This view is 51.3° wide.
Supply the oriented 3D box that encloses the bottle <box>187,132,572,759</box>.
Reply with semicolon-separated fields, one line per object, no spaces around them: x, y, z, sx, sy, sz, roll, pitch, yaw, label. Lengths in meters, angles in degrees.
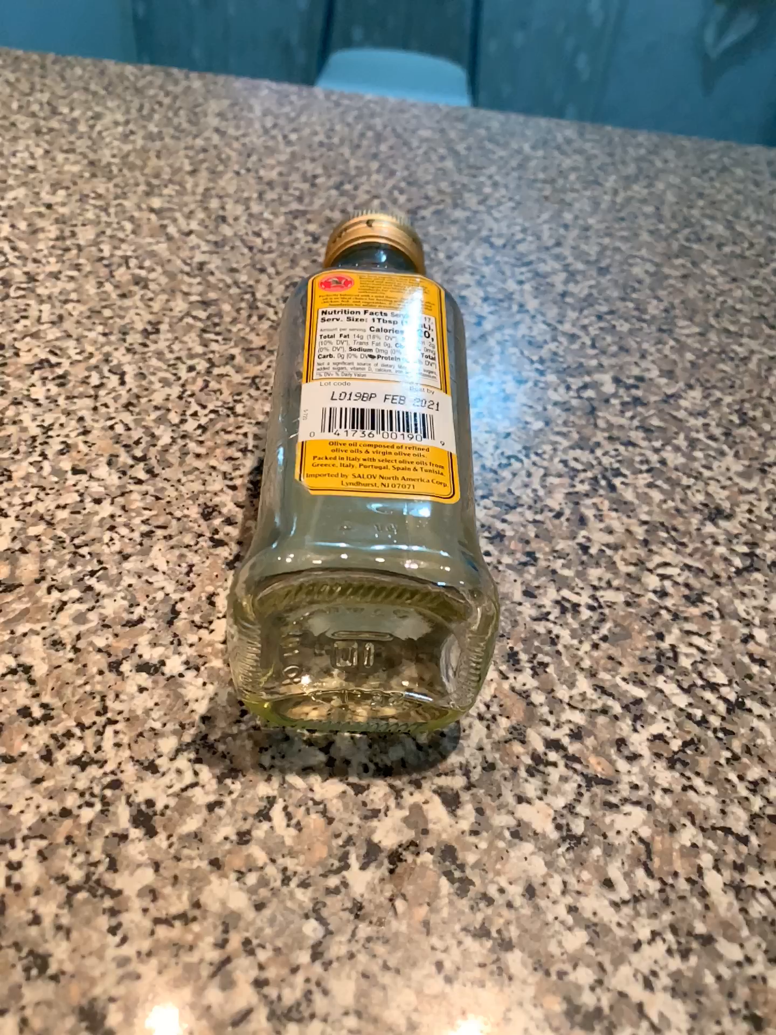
-0.004;-0.035;0.212;0.060;0.060;0.181;4;43;-4;bottle
